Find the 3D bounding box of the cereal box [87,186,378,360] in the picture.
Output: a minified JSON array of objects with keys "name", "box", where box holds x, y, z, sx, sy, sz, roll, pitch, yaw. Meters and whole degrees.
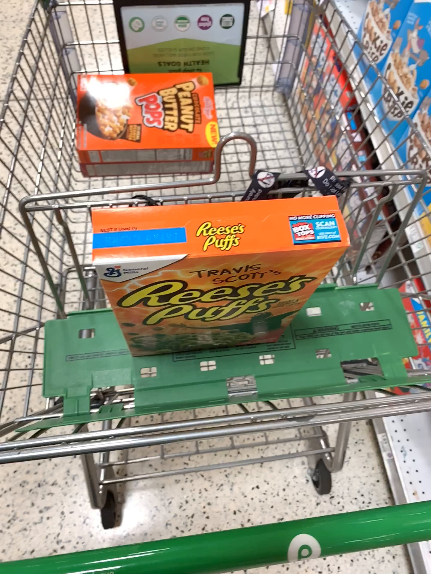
[{"name":"cereal box","box":[0.004,0.007,0.455,0.210,0.278,0.050,-4,67,-6]}]
